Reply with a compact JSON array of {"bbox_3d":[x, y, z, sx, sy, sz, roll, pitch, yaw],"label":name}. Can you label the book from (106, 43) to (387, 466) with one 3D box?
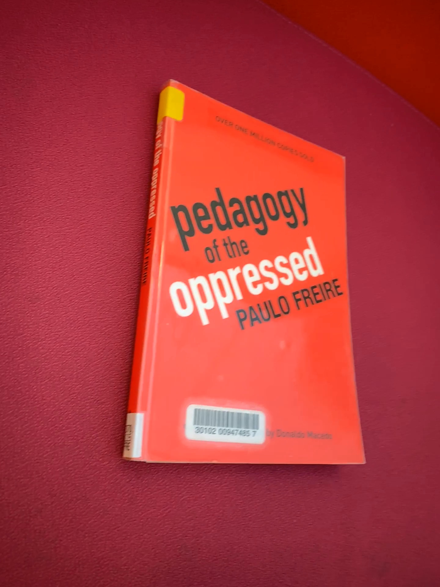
[{"bbox_3d":[0.029,-0.019,0.294,0.170,0.030,0.241,13,69,-28],"label":"book"}]
